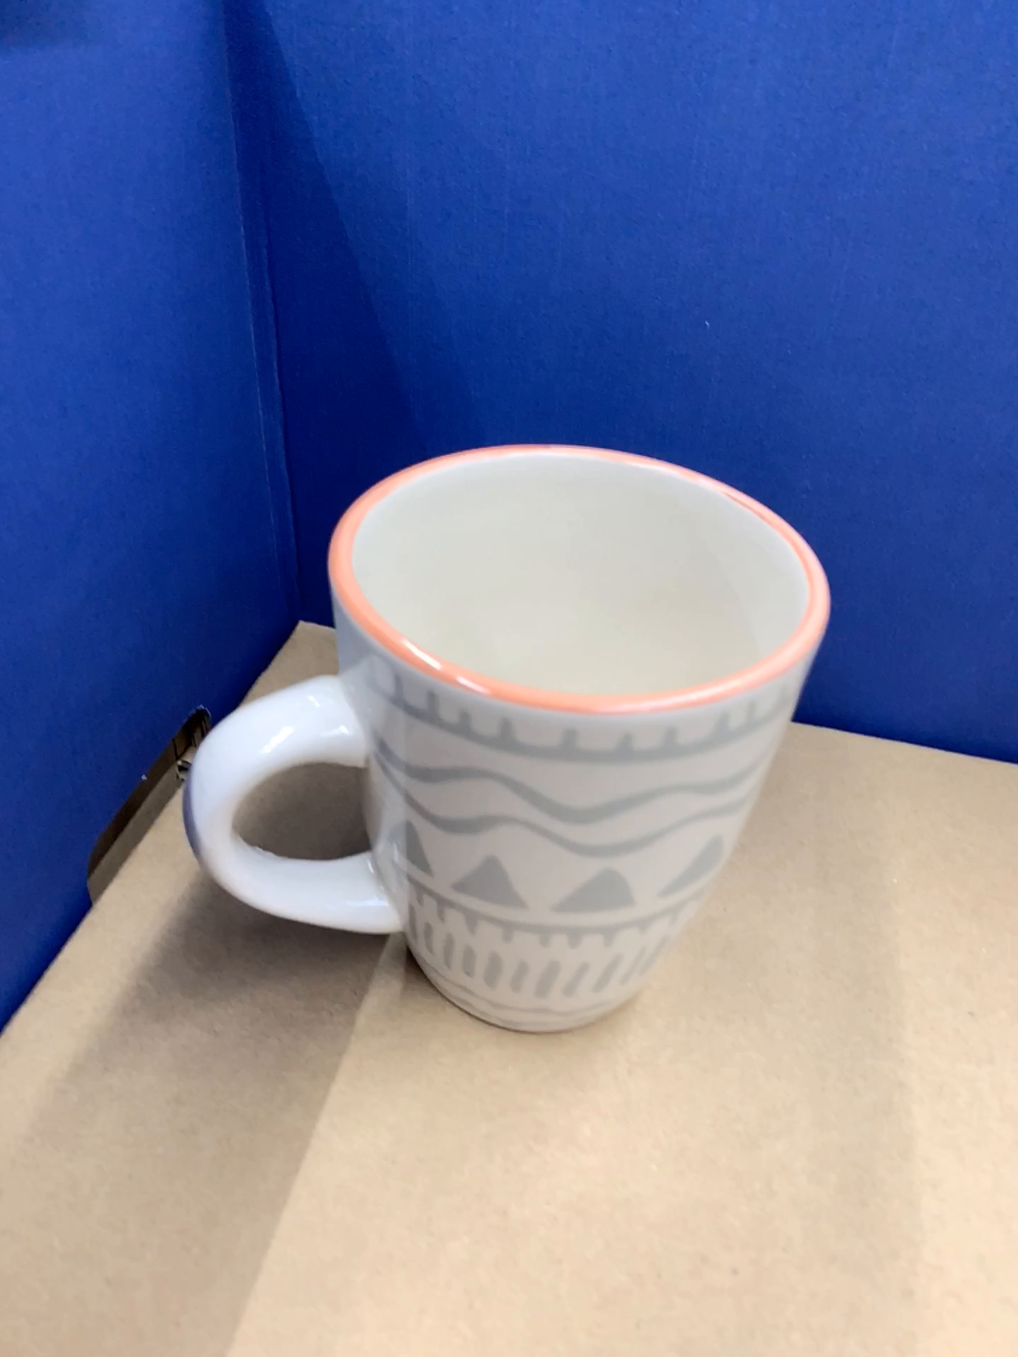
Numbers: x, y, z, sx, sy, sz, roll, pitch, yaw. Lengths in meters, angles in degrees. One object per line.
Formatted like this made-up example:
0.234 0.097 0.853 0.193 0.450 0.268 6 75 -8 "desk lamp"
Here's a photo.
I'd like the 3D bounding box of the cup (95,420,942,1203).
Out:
-0.004 0.014 0.210 0.119 0.082 0.097 -16 40 -25 "cup"
